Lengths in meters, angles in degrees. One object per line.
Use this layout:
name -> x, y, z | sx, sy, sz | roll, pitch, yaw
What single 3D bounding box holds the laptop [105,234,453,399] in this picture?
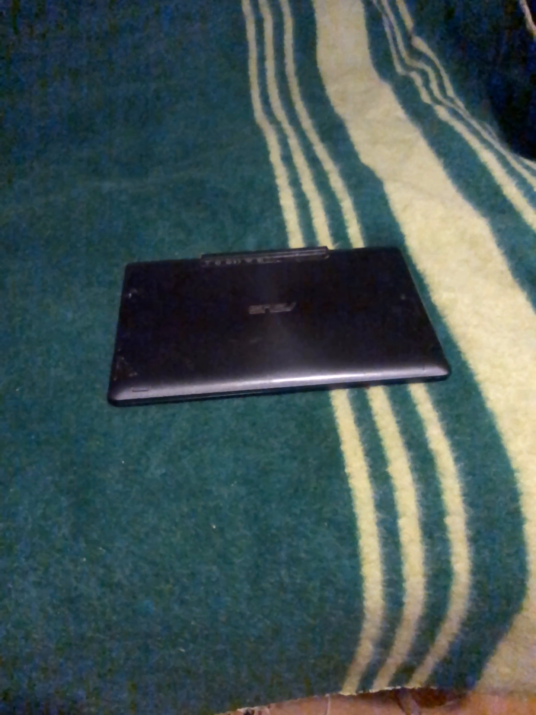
laptop -> 0.004, -0.044, 0.505 | 0.262, 0.017, 0.168 | -4, 45, -3
